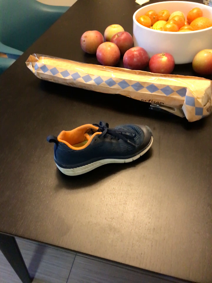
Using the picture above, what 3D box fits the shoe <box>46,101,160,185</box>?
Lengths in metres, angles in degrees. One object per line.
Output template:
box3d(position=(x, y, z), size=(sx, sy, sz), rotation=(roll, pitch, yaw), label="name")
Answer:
box3d(position=(-0.006, 0.000, 0.433), size=(0.186, 0.072, 0.084), rotation=(-16, 47, -10), label="shoe")
